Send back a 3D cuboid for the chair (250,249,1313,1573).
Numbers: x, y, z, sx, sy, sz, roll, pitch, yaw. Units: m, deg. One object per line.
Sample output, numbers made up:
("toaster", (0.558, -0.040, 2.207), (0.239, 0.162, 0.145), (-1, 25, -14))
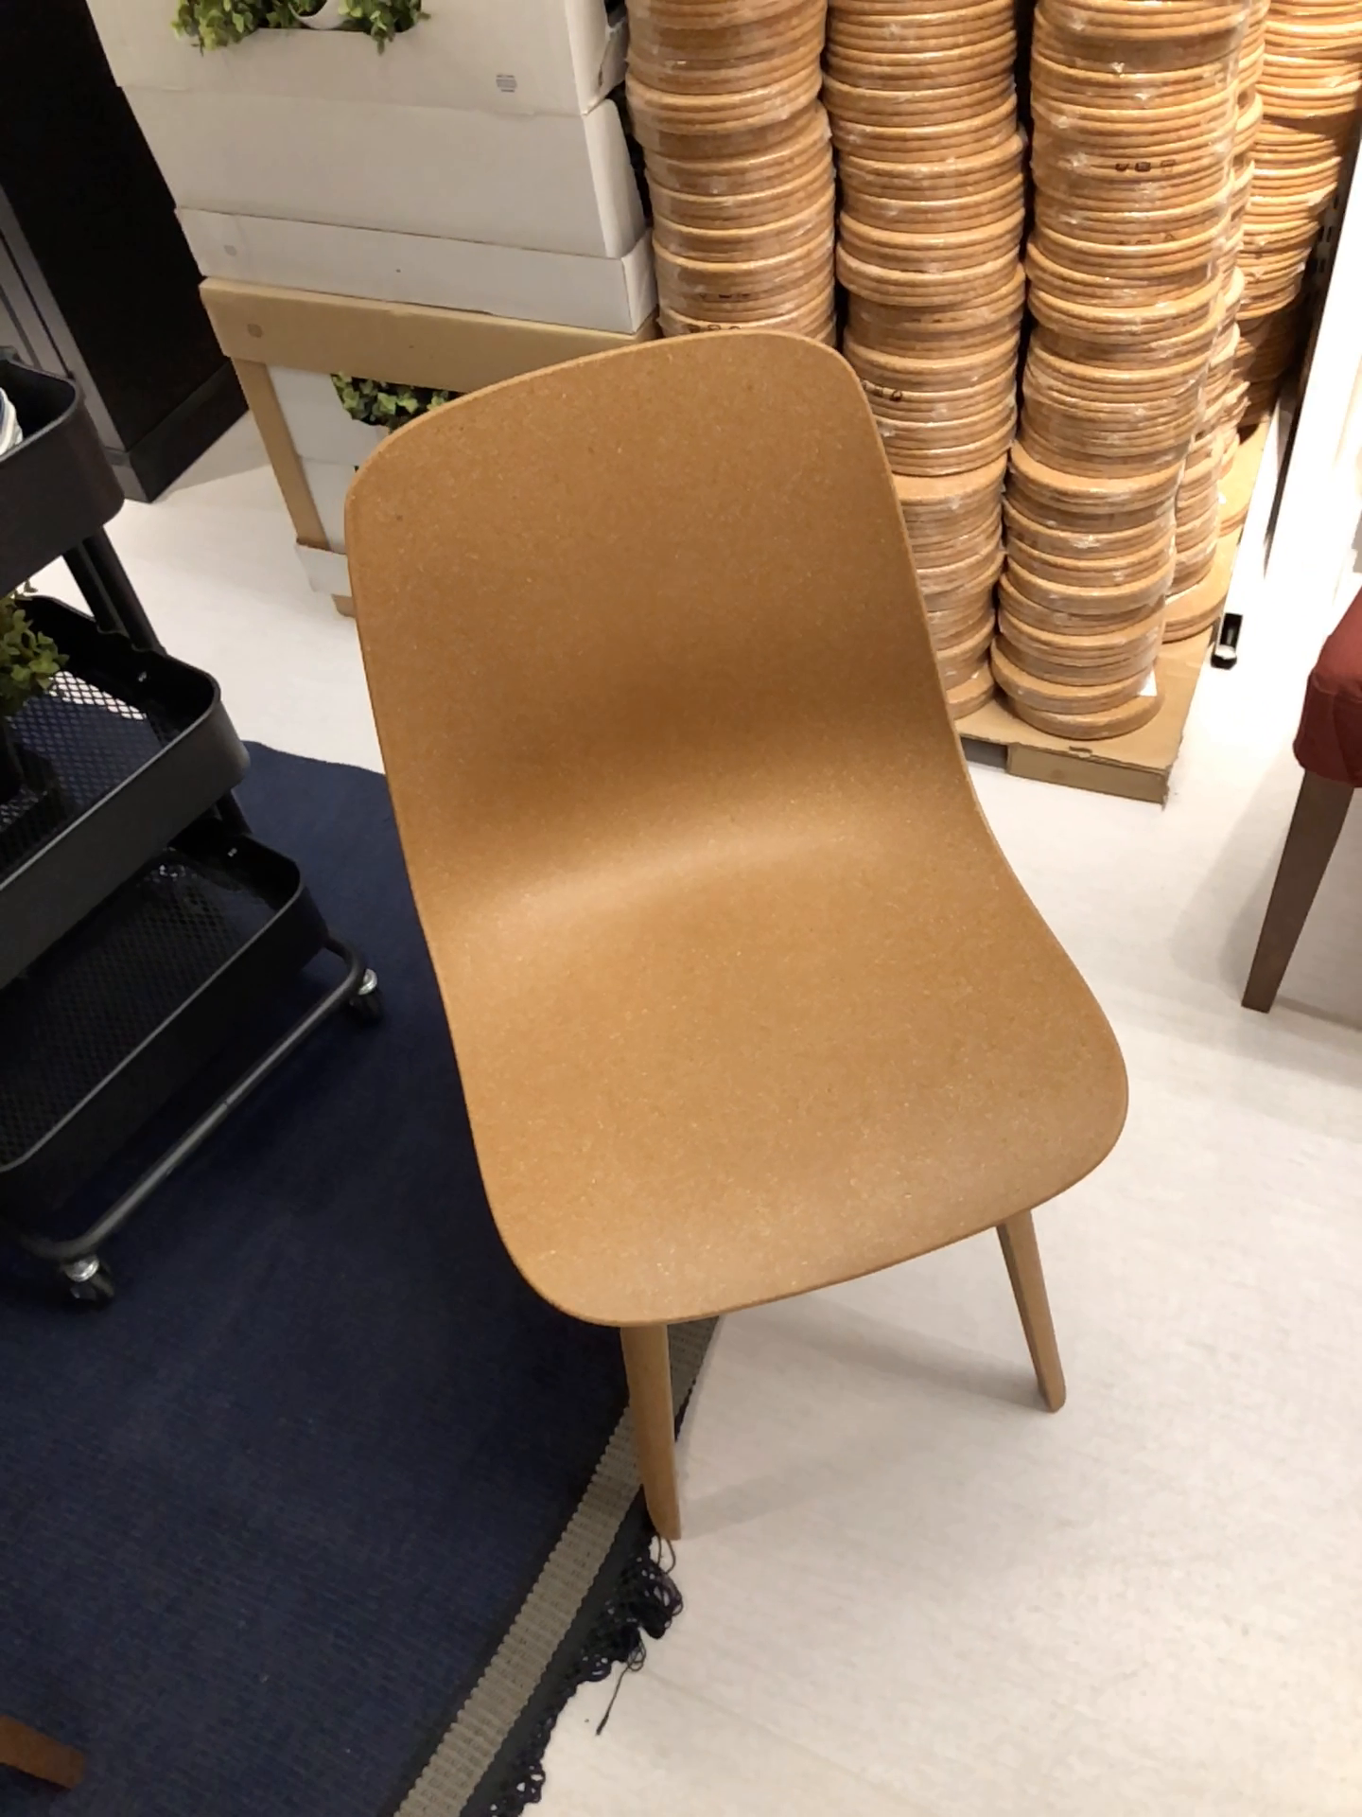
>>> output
("chair", (0.045, 0.044, 1.122), (0.440, 0.746, 0.553), (-17, 51, -5))
